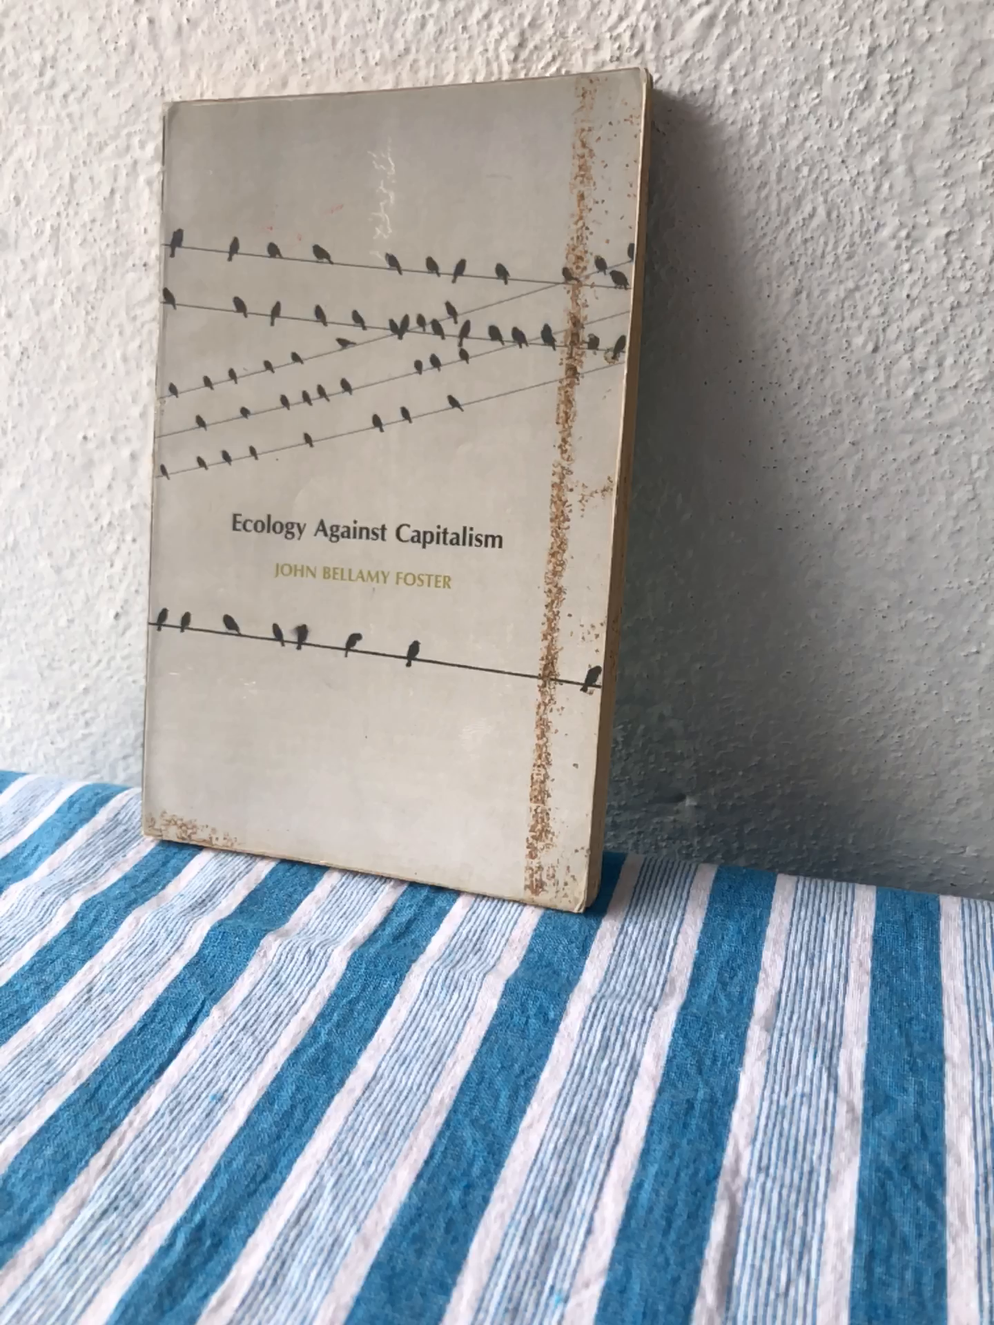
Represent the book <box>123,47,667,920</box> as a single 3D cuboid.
[{"bbox_3d":[-0.032,-0.047,0.306,0.140,0.210,0.030,5,2,22],"label":"book"}]
